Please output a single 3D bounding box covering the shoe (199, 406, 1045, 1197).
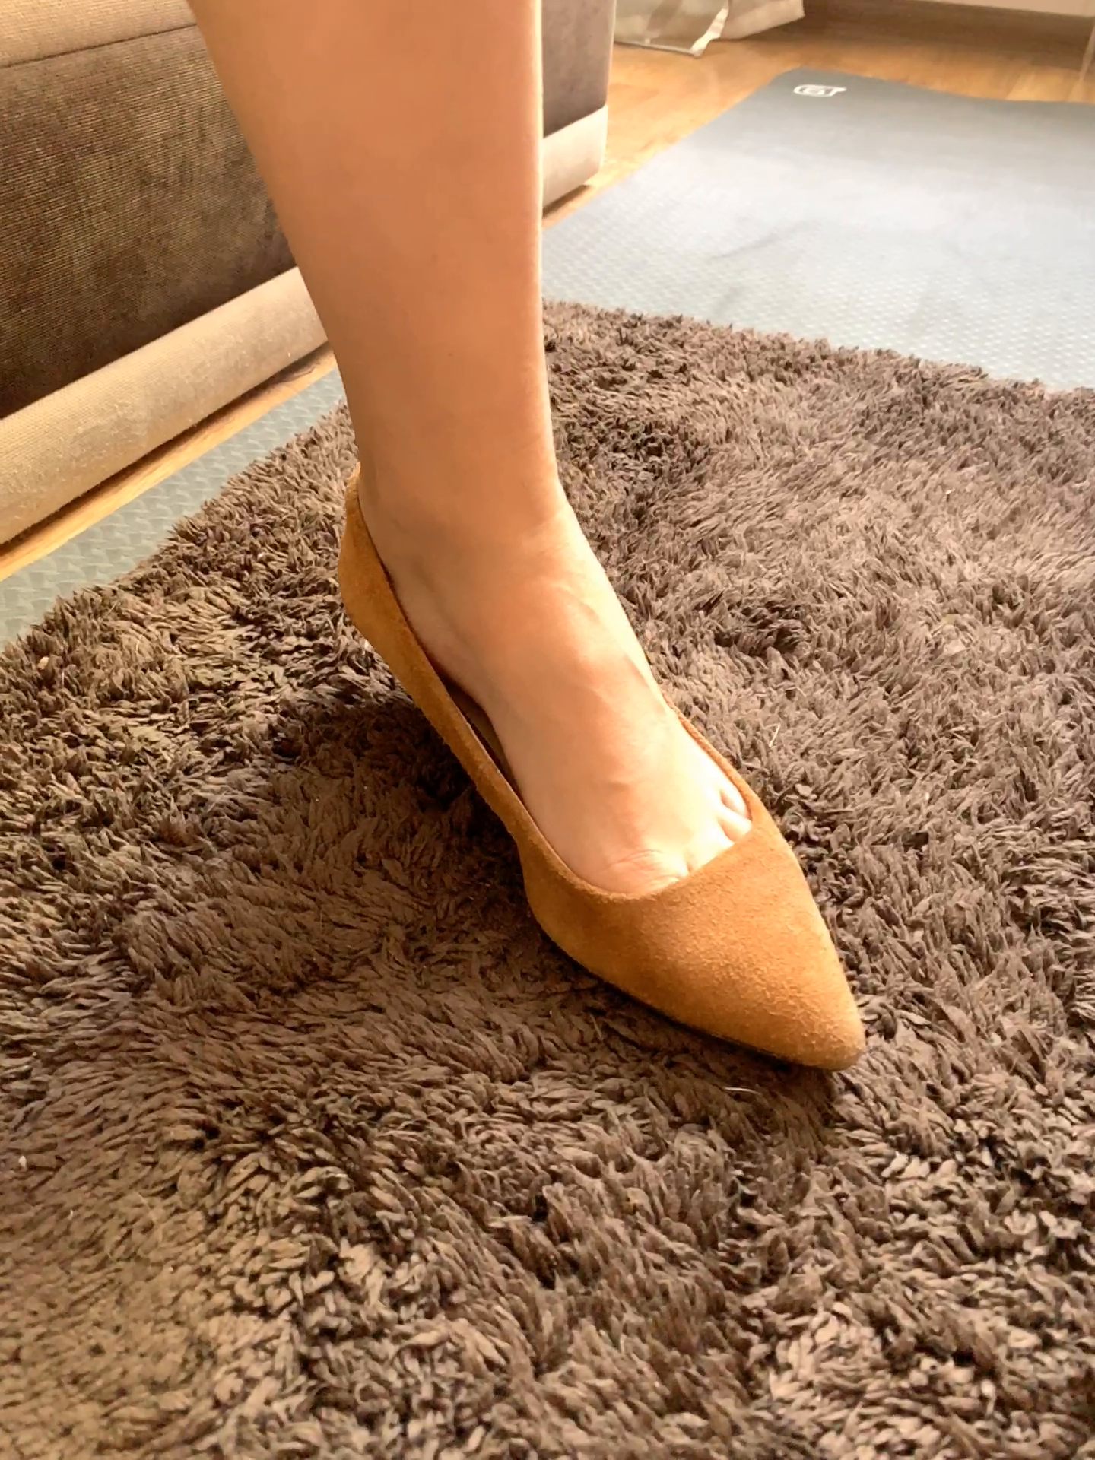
[{"bbox_3d":[-0.001,-0.004,0.333,0.090,0.080,0.251,-25,47,-29],"label":"shoe"}]
